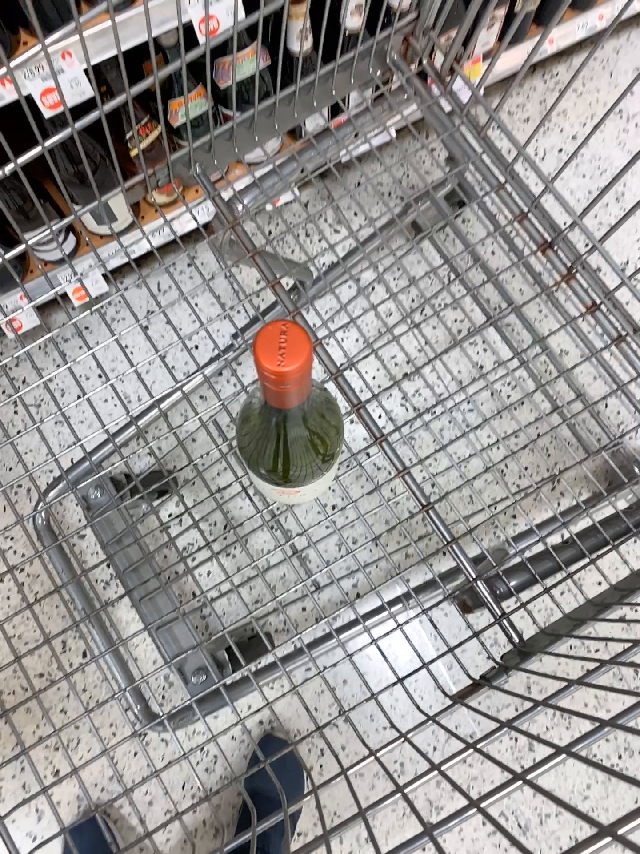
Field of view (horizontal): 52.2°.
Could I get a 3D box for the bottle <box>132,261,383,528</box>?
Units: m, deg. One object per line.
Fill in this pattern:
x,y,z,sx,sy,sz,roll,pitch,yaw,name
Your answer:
-0.024,0.007,0.420,0.090,0.299,0.080,11,78,3,bottle
